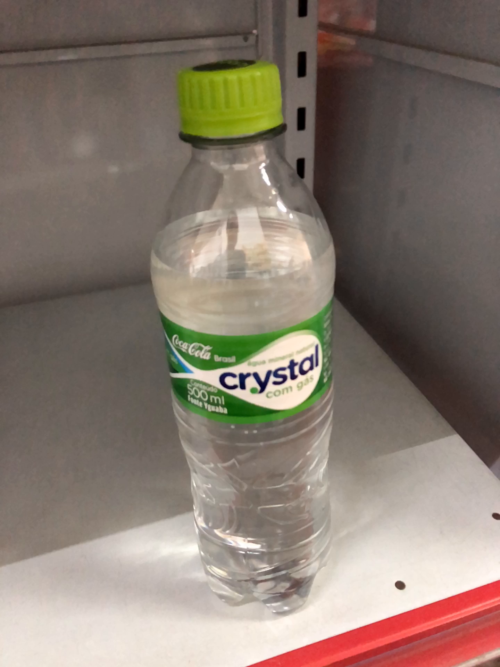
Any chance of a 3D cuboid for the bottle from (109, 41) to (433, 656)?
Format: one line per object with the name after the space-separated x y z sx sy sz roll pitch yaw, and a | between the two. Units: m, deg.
0.004 0.022 0.203 0.070 0.219 0.060 -9 34 -10 | bottle
